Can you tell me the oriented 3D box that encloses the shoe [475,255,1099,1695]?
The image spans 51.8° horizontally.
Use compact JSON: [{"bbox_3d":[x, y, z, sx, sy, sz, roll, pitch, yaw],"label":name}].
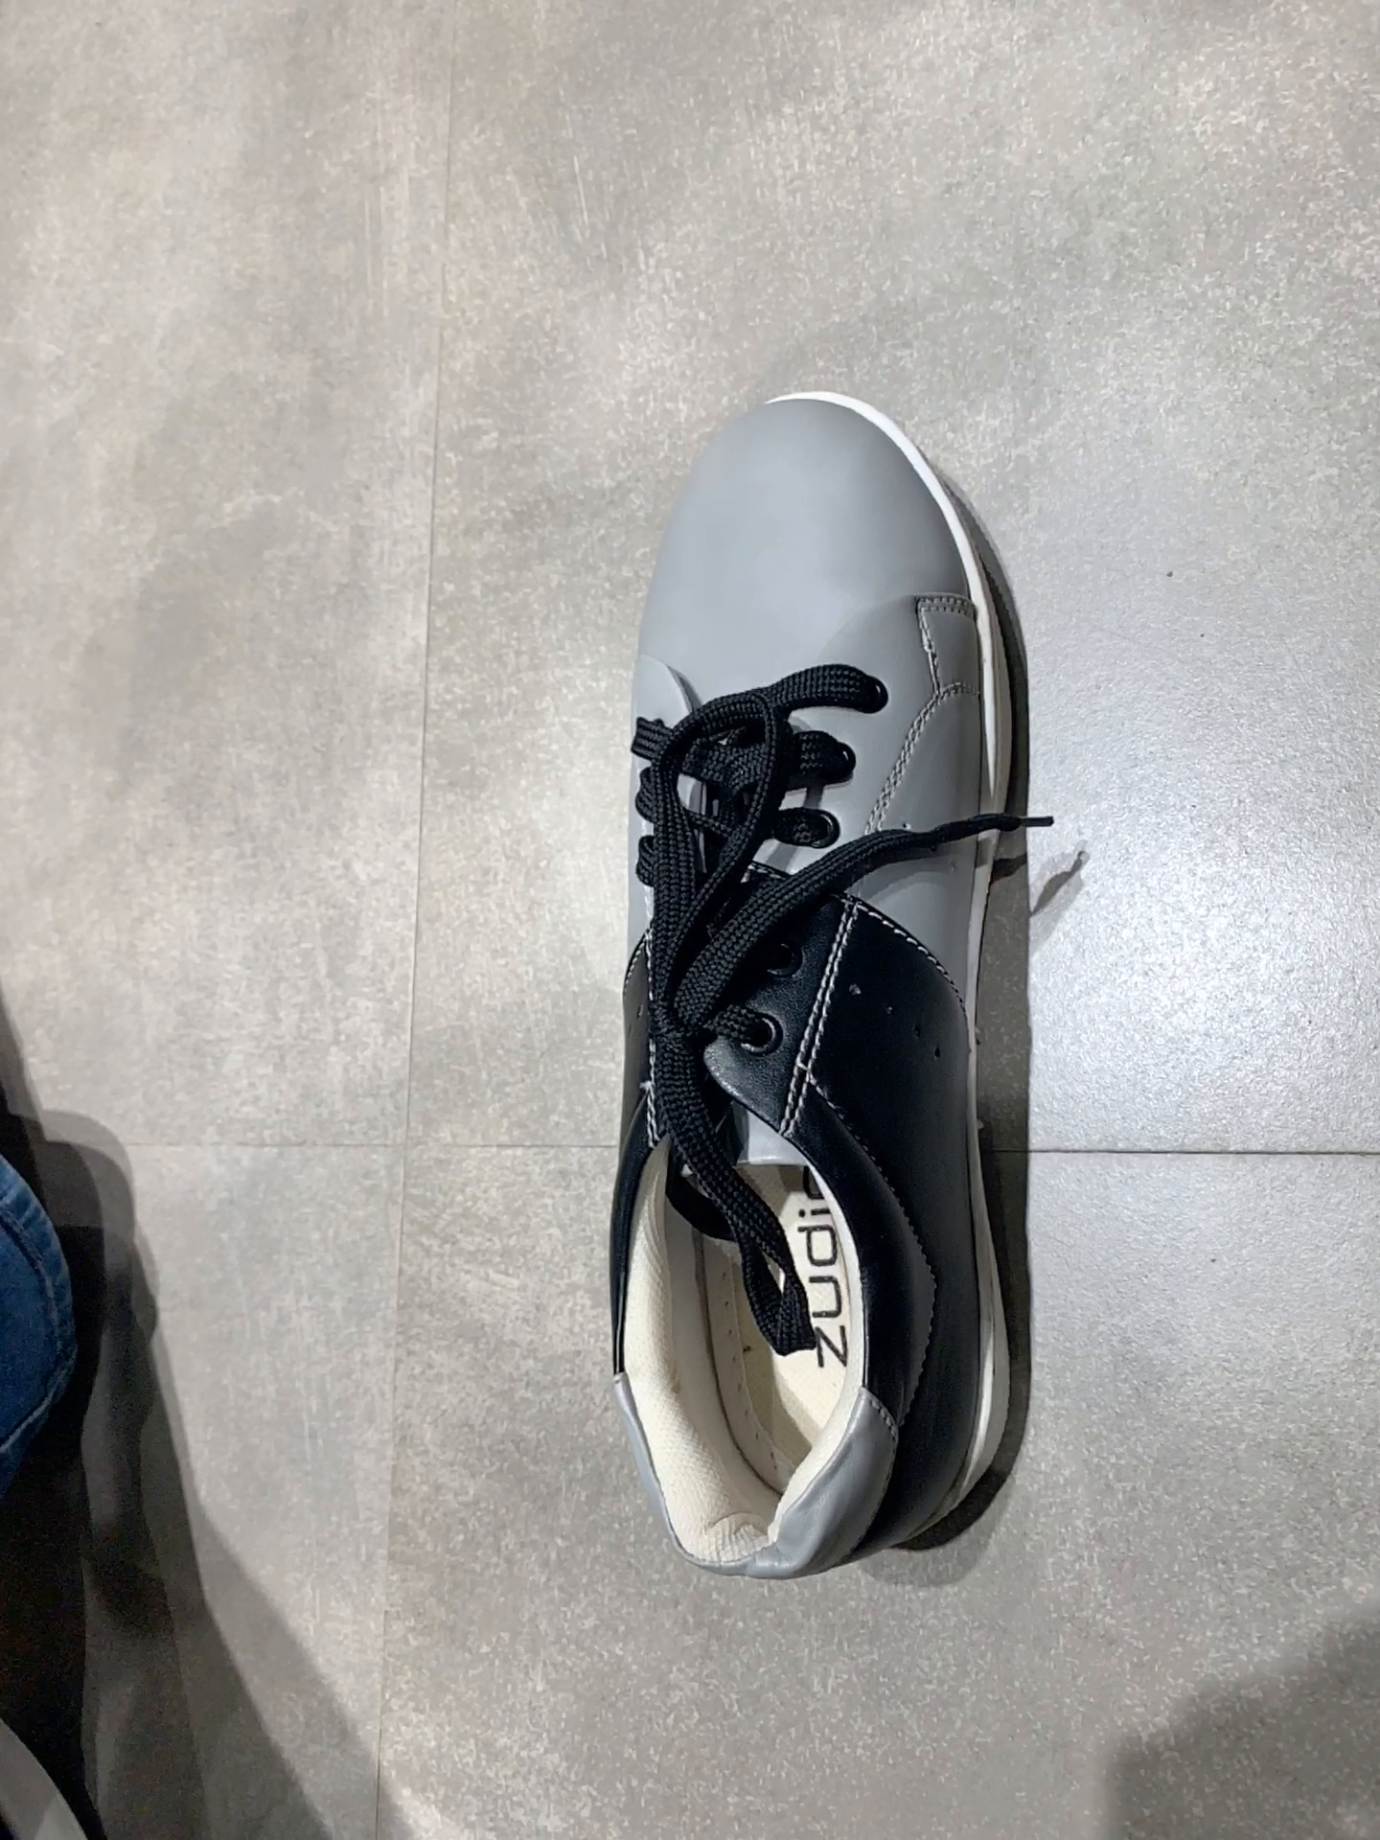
[{"bbox_3d":[0.024,0.010,0.321,0.102,0.093,0.263,-5,78,27],"label":"shoe"}]
